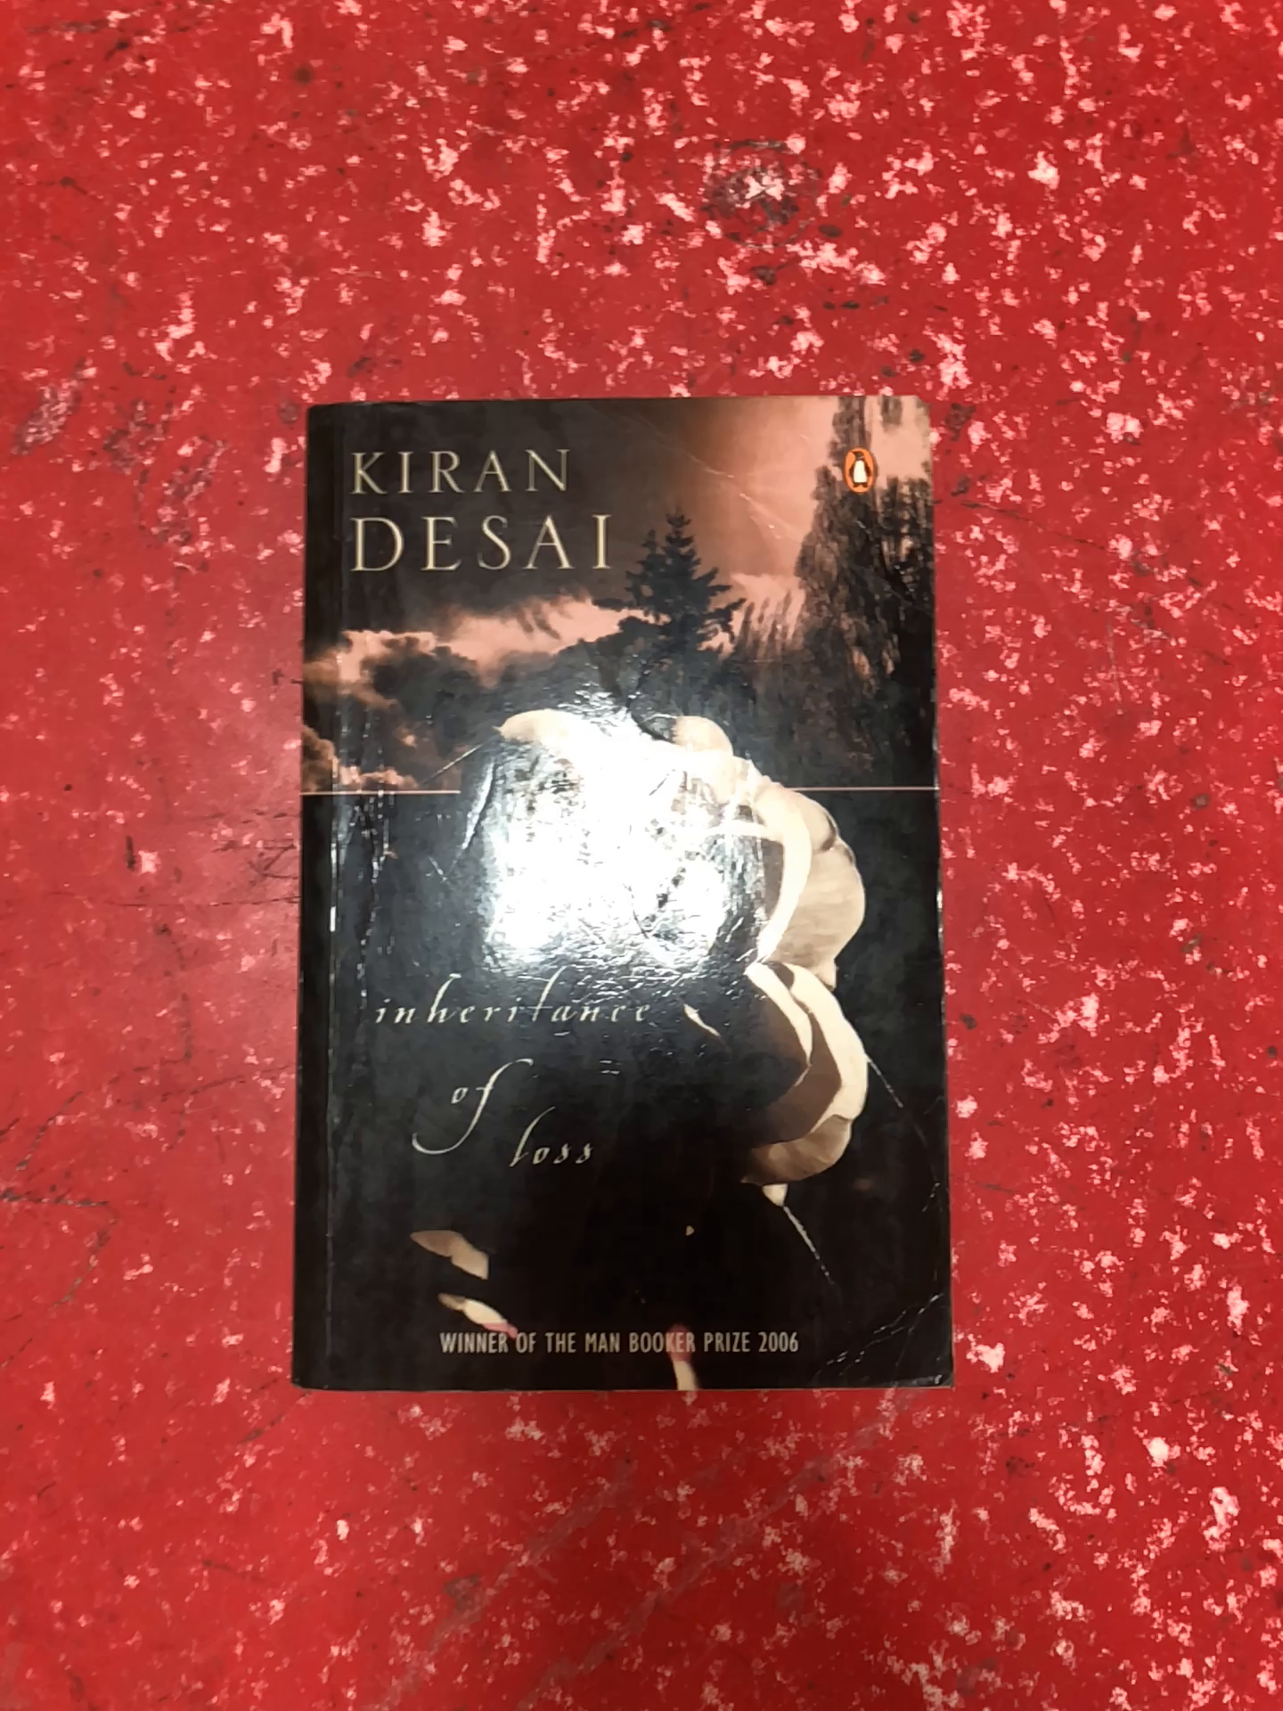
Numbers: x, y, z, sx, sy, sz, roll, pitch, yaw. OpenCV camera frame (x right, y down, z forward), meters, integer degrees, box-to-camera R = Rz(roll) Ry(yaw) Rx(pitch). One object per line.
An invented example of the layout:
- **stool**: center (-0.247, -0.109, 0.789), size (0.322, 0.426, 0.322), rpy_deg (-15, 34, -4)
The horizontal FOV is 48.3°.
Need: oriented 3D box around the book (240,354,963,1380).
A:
- **book**: center (-0.007, 0.002, 0.295), size (0.130, 0.060, 0.190), rpy_deg (0, 85, 1)
